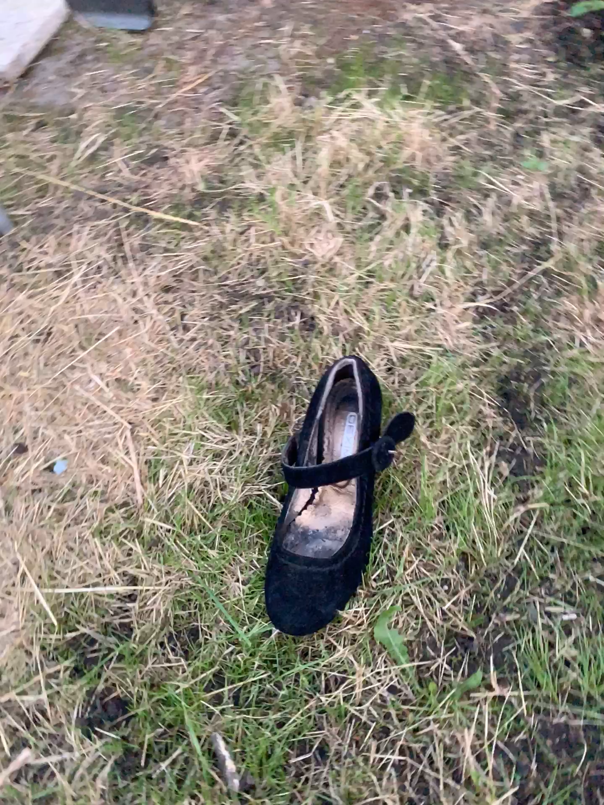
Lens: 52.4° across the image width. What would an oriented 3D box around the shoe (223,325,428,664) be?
[{"bbox_3d":[0.030,0.073,0.532,0.110,0.109,0.252,10,60,9],"label":"shoe"}]
